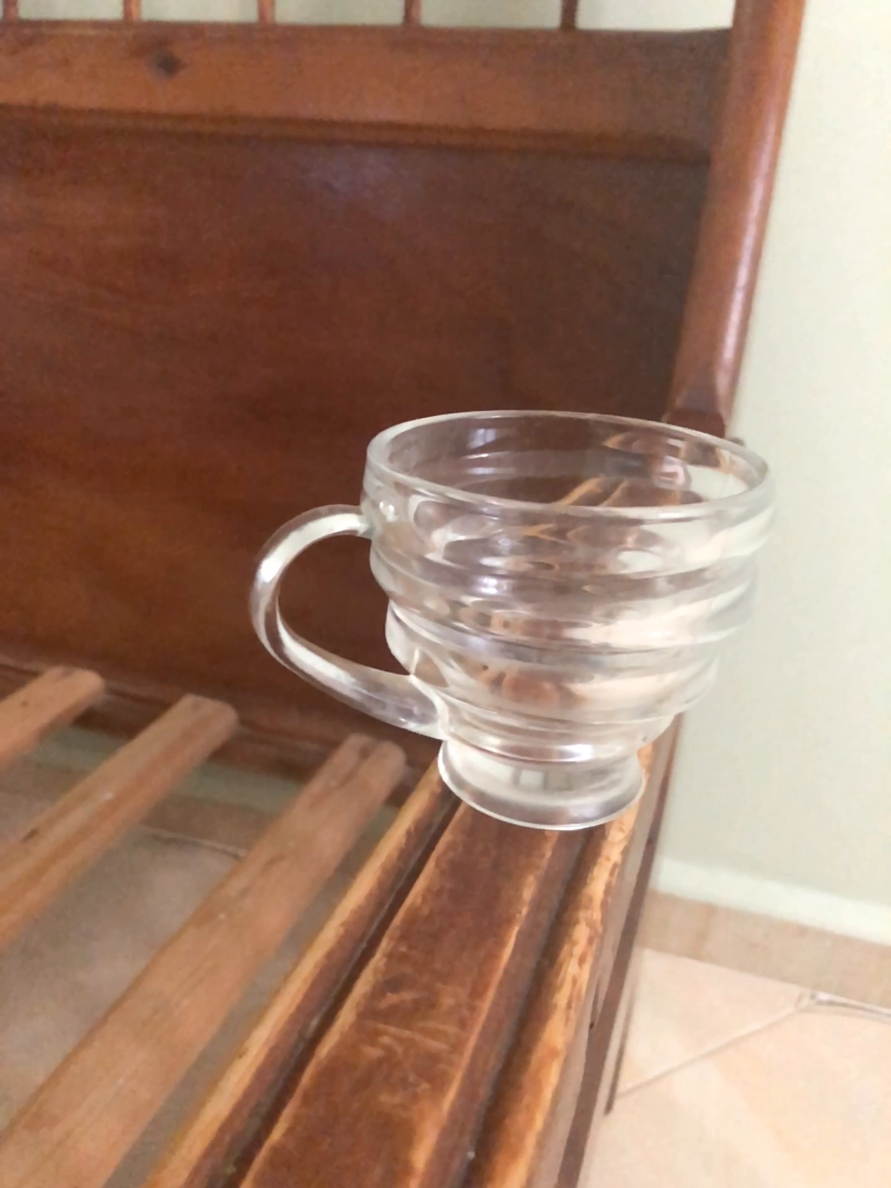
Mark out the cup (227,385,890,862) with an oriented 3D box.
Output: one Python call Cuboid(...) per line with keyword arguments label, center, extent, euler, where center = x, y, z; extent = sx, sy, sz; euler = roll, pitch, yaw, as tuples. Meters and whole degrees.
Cuboid(label="cup", center=(0.015, 0.000, 0.196), extent=(0.105, 0.065, 0.076), euler=(0, 22, -7))
